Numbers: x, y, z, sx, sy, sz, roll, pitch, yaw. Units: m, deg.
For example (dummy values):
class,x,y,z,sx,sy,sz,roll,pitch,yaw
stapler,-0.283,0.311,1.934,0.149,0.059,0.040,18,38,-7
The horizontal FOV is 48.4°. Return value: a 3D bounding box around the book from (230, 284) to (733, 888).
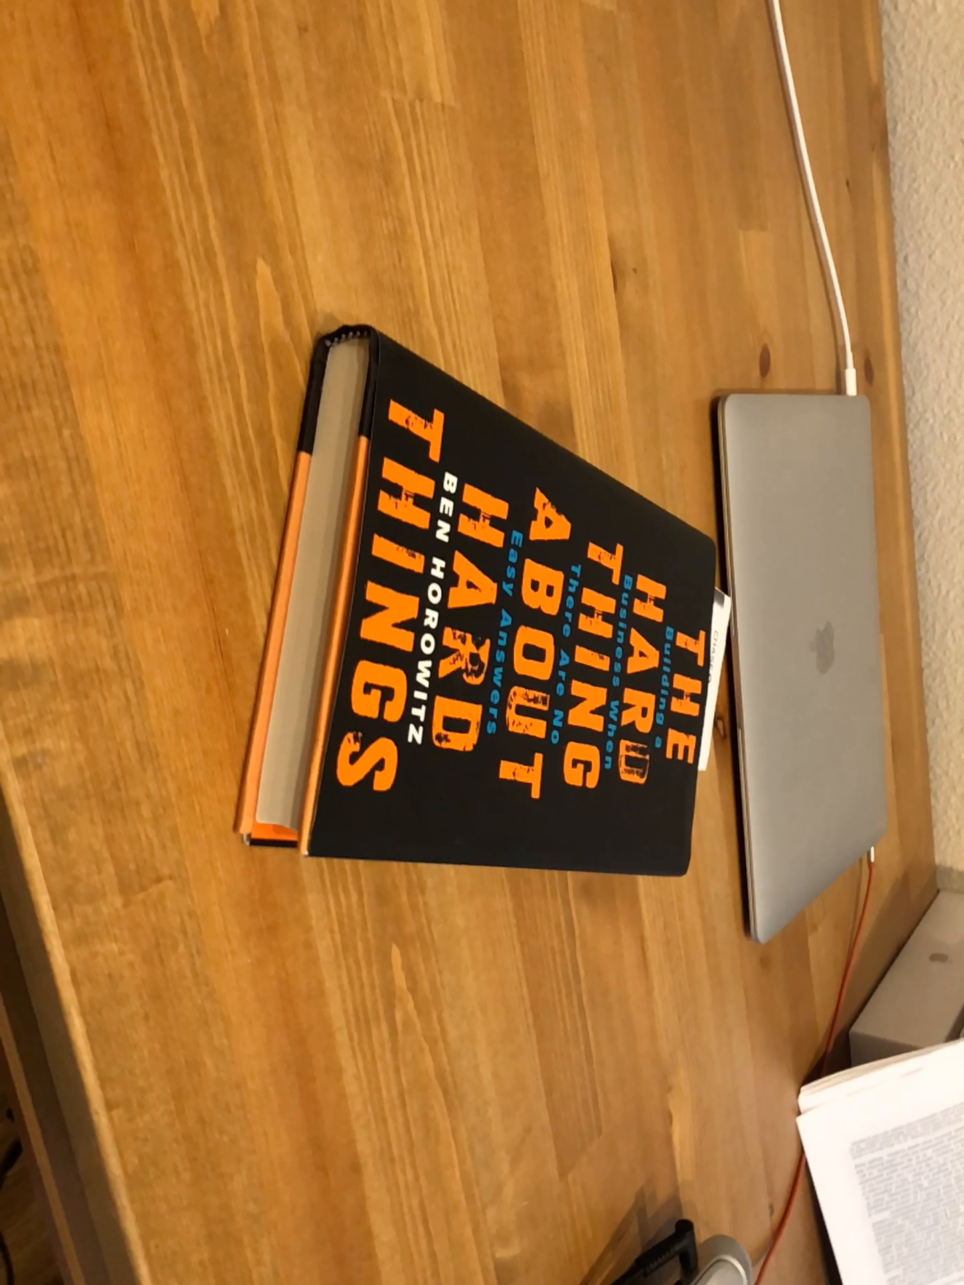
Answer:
class,x,y,z,sx,sy,sz,roll,pitch,yaw
book,0.020,0.002,0.376,0.221,0.030,0.160,17,77,-51
